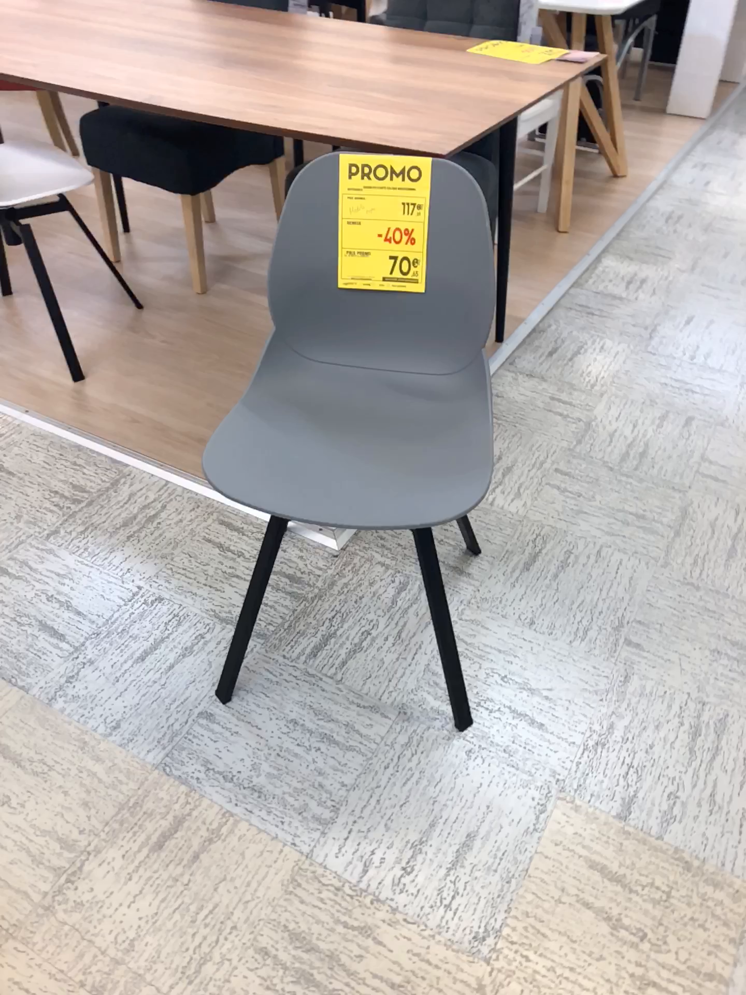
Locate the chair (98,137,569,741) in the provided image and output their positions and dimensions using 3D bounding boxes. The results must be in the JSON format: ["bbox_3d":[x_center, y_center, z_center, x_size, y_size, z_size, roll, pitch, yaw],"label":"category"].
[{"bbox_3d":[-0.021,-0.096,1.339,0.510,0.755,0.584,4,40,4],"label":"chair"}]
